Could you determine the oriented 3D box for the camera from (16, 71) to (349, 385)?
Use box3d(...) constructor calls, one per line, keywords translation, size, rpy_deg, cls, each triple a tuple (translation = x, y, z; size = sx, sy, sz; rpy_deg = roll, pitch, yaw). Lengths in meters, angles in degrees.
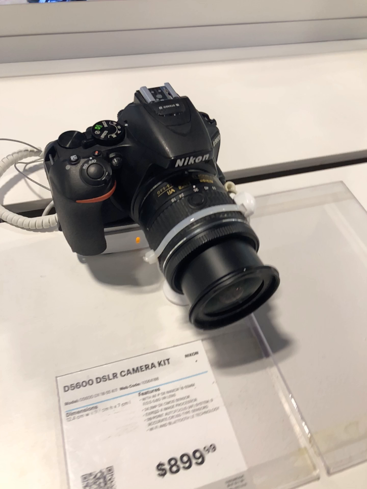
box3d(translation=(-0.011, -0.020, 0.249), size=(0.130, 0.089, 0.141), rpy_deg=(-17, 54, -18), cls="camera")
